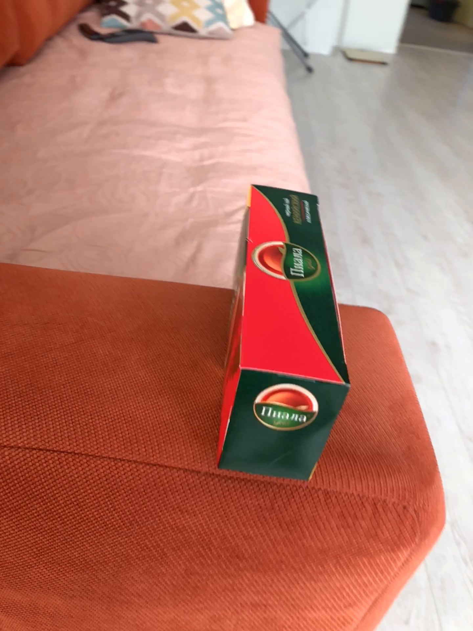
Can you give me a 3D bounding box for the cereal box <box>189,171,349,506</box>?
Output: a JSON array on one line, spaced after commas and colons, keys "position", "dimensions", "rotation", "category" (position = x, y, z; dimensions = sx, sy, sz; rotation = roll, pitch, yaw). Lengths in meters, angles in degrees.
[{"position": [0.013, -0.003, 0.266], "dimensions": [0.050, 0.069, 0.171], "rotation": [7, 38, -2], "category": "cereal box"}]
